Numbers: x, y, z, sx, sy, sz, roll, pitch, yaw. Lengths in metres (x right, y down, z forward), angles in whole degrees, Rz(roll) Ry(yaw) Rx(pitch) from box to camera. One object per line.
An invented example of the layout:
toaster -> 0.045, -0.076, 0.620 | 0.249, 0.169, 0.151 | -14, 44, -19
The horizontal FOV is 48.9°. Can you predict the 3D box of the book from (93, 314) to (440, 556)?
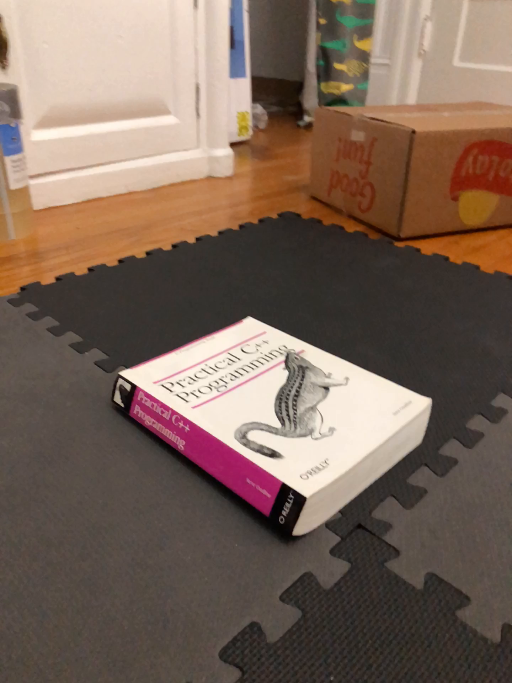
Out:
book -> 0.006, 0.058, 0.526 | 0.251, 0.050, 0.201 | 26, 31, 36
